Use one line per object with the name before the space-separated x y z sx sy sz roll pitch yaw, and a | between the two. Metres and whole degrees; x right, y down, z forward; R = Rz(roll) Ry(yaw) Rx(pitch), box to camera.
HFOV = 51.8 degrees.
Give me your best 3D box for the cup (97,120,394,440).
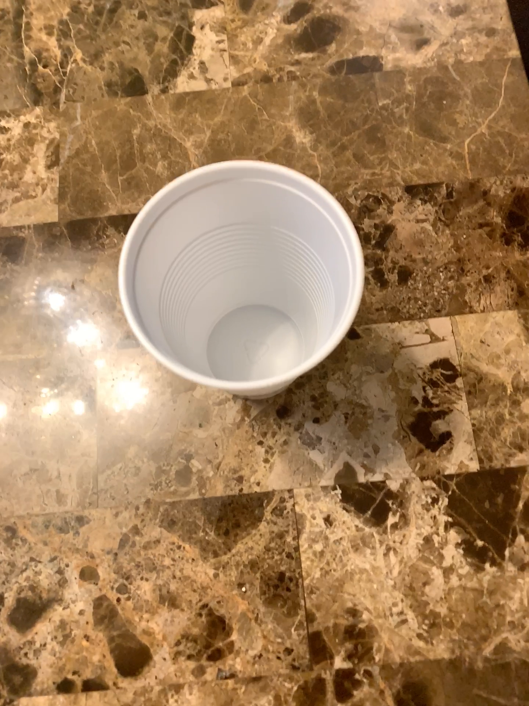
cup | -0.007 -0.020 0.213 0.077 0.084 0.081 -1 74 3
